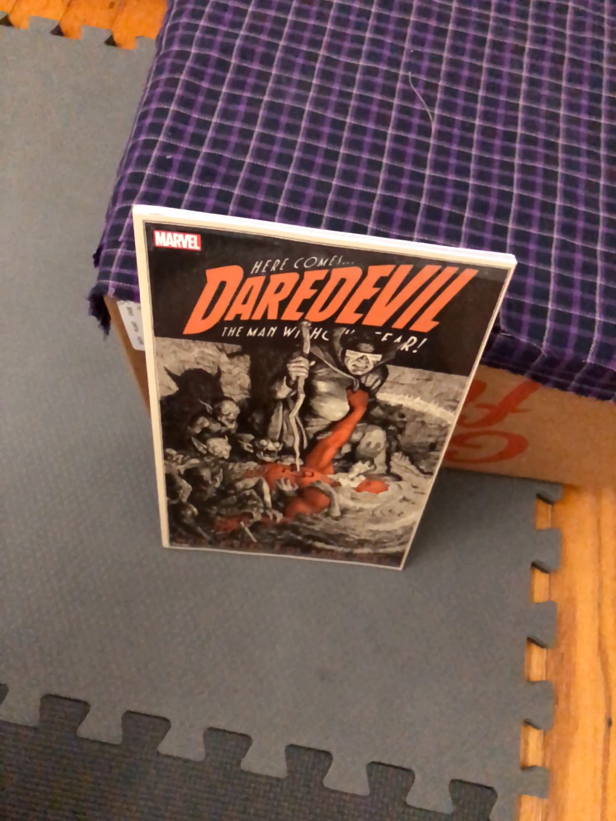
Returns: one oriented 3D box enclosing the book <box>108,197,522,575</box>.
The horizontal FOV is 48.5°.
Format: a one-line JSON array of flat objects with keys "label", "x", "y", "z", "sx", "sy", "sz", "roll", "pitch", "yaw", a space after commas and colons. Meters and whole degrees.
[{"label": "book", "x": -0.007, "y": 0.009, "z": 0.351, "sx": 0.160, "sy": 0.229, "sz": 0.020, "roll": 6, "pitch": 46, "yaw": -2}]
